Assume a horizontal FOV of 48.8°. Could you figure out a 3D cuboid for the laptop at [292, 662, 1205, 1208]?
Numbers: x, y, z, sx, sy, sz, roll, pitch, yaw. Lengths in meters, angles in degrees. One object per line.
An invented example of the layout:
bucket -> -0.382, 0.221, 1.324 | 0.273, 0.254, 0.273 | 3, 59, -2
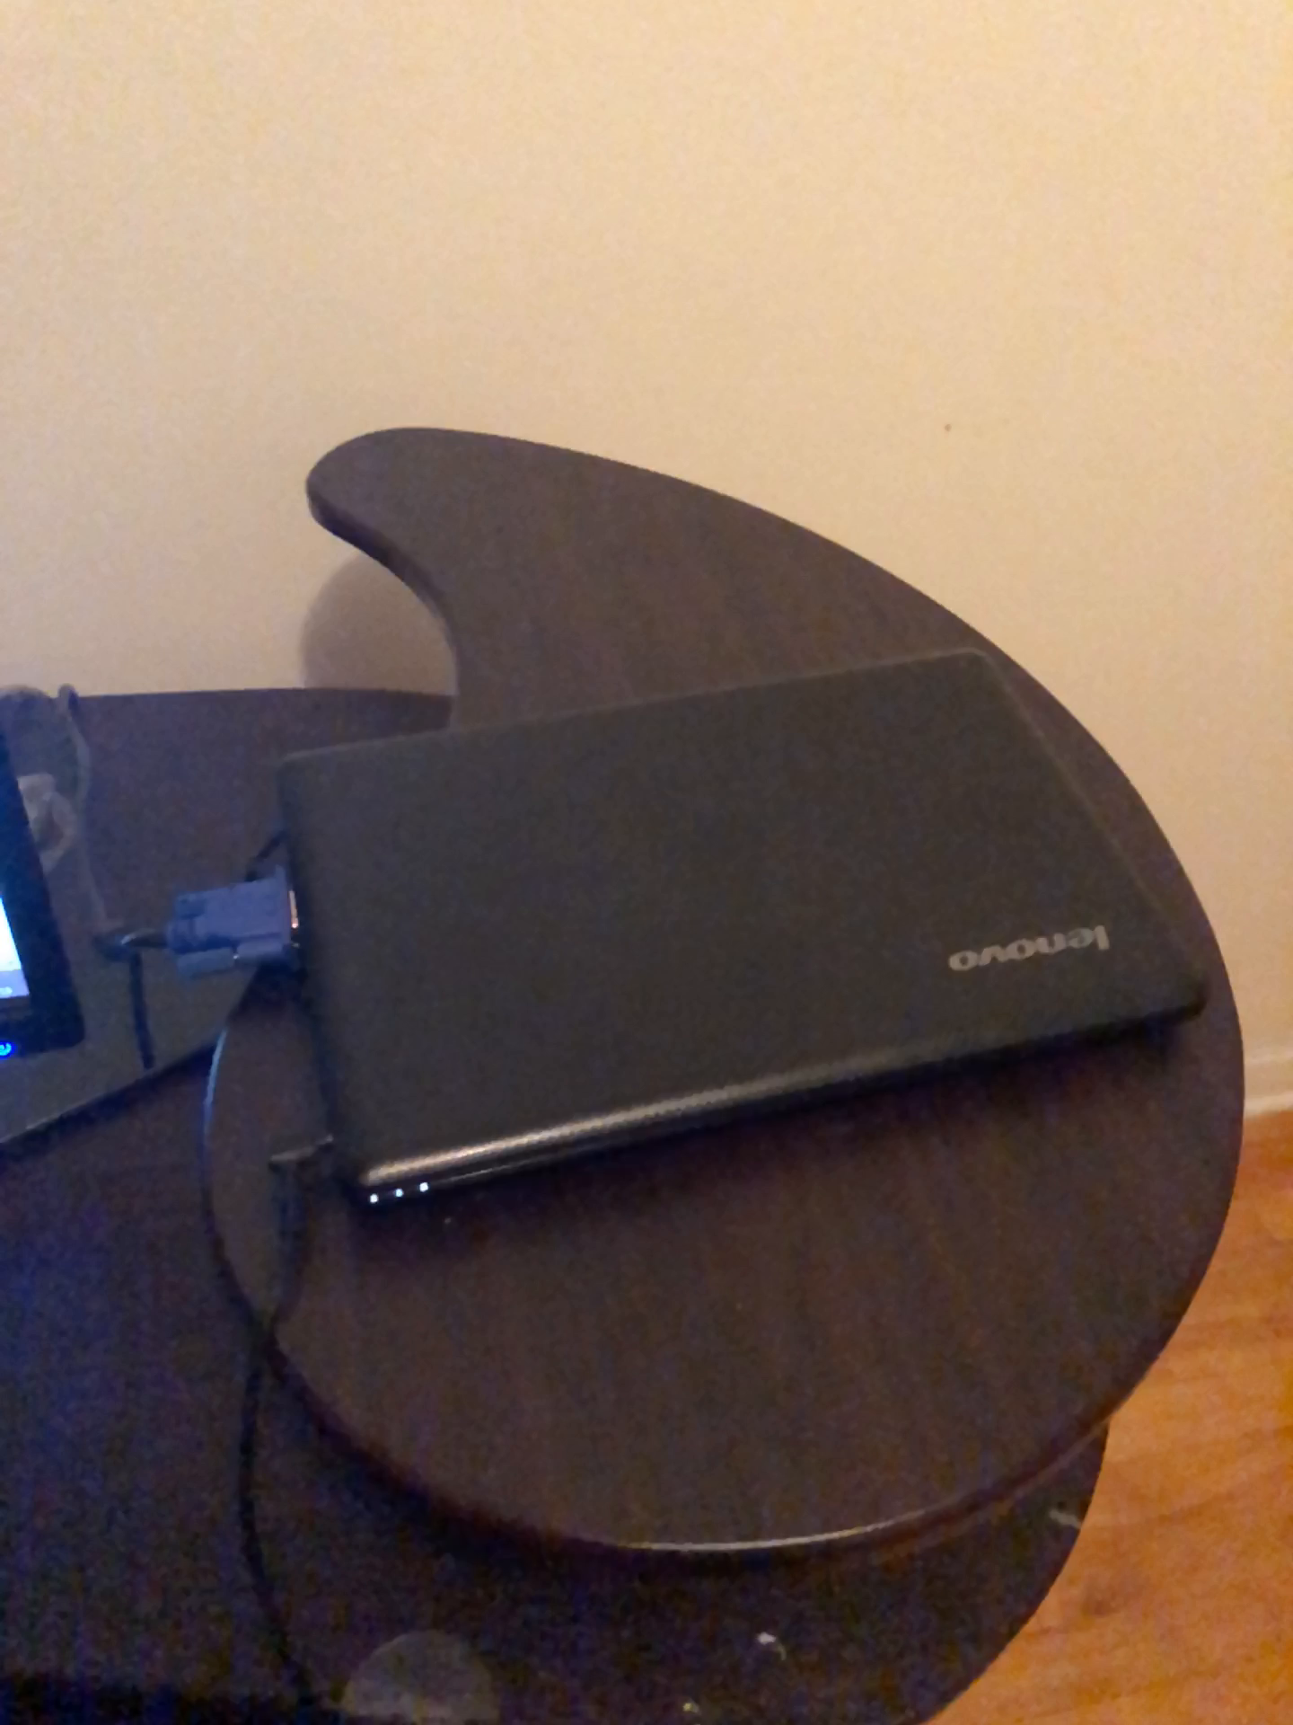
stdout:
laptop -> 0.023, 0.009, 0.473 | 0.259, 0.008, 0.173 | -11, 47, -11
